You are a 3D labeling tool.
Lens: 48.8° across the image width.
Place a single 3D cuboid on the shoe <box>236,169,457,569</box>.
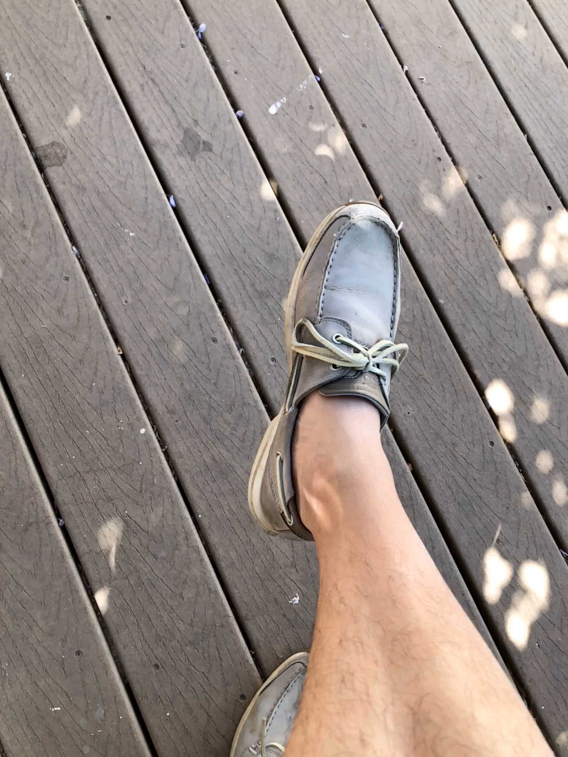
[{"bbox_3d":[0.050,-0.007,0.549,0.115,0.085,0.306,13,86,-7],"label":"shoe"}]
